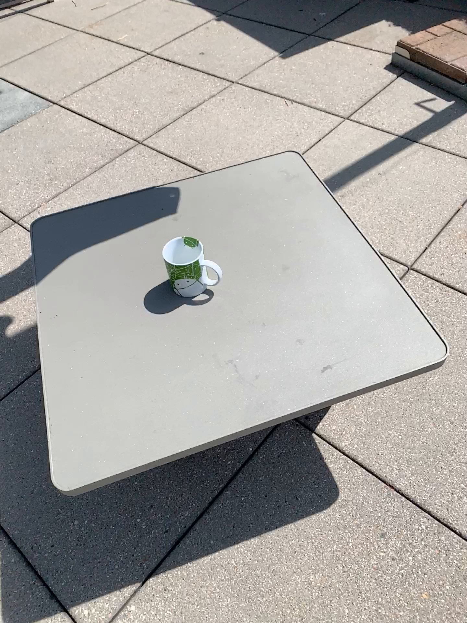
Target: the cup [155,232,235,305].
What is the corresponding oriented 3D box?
[{"bbox_3d":[-0.070,-0.082,0.911,0.120,0.090,0.090,7,52,12],"label":"cup"}]
